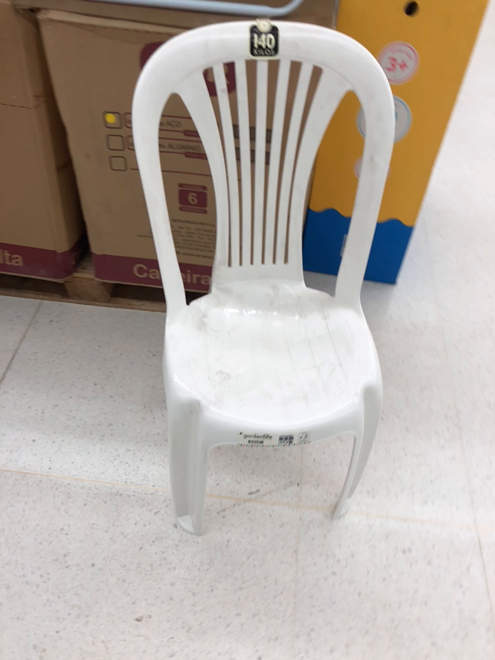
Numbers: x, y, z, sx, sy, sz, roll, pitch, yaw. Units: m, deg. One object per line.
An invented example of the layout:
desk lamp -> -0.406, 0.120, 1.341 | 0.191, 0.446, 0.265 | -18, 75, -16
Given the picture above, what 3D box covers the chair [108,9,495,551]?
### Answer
chair -> 0.039, -0.027, 0.971 | 0.440, 0.835, 0.463 | -6, 48, -8
